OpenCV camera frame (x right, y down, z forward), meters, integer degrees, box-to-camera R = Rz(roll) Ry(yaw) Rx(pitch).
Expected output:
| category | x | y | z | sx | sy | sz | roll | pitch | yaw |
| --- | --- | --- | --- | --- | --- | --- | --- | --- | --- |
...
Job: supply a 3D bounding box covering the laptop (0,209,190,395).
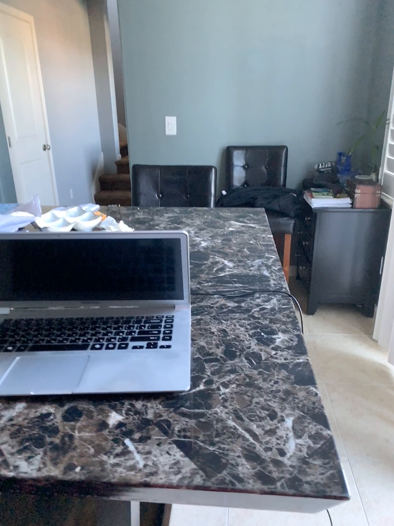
| category | x | y | z | sx | sy | sz | roll | pitch | yaw |
| --- | --- | --- | --- | --- | --- | --- | --- | --- | --- |
| laptop | -0.194 | 0.041 | 0.611 | 0.361 | 0.188 | 0.235 | -1 | 20 | 0 |
